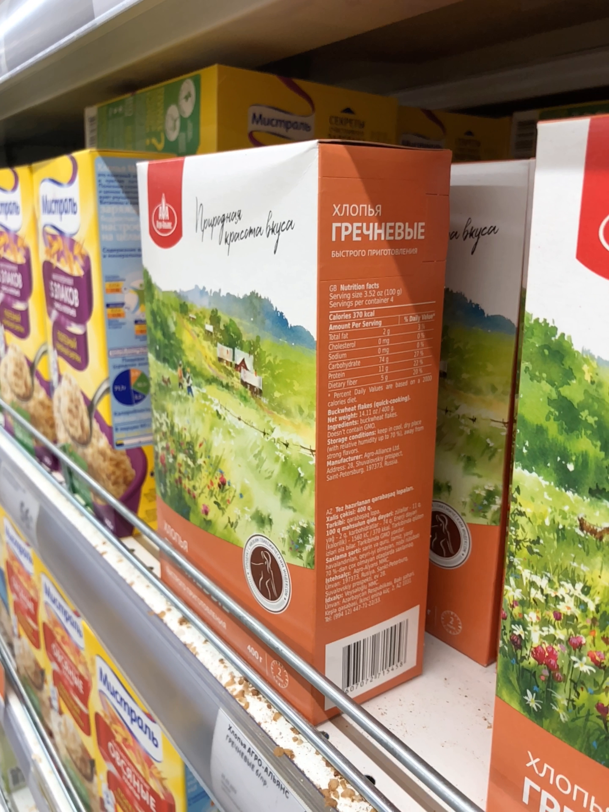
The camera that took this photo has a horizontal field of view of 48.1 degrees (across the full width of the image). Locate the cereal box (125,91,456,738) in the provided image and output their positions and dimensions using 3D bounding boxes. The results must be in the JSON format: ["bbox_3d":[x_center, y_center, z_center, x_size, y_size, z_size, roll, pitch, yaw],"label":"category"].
[{"bbox_3d":[-0.015,-0.004,0.272,0.050,0.199,0.140,-10,18,-34],"label":"cereal box"}]
